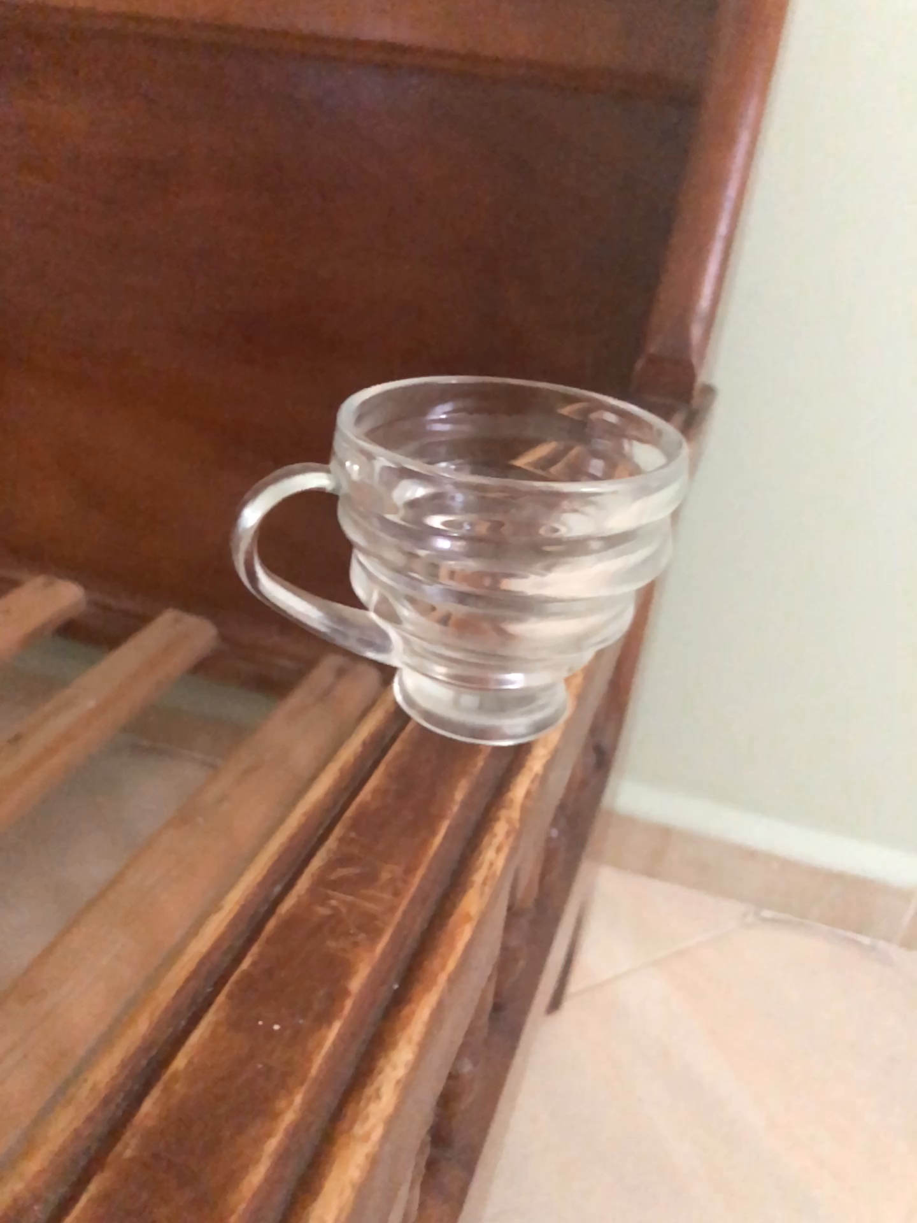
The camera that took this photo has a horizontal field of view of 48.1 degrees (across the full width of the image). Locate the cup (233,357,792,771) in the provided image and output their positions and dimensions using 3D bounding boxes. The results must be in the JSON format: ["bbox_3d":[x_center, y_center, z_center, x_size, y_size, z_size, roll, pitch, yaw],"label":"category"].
[{"bbox_3d":[0.005,-0.013,0.239,0.106,0.065,0.076,2,28,-7],"label":"cup"}]
